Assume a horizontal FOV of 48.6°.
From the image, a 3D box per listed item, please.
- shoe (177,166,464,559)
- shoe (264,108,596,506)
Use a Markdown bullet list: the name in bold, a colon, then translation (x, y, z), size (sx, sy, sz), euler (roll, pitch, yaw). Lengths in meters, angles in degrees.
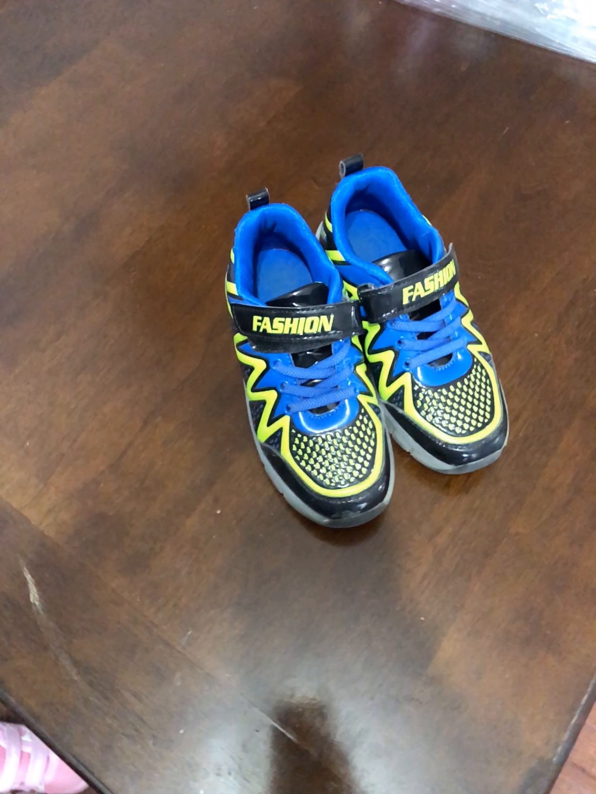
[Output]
- **shoe**: translation (0.007, -0.021, 0.438), size (0.100, 0.120, 0.210), euler (-19, 66, -7)
- **shoe**: translation (0.074, -0.061, 0.451), size (0.090, 0.120, 0.230), euler (-27, 67, -10)
